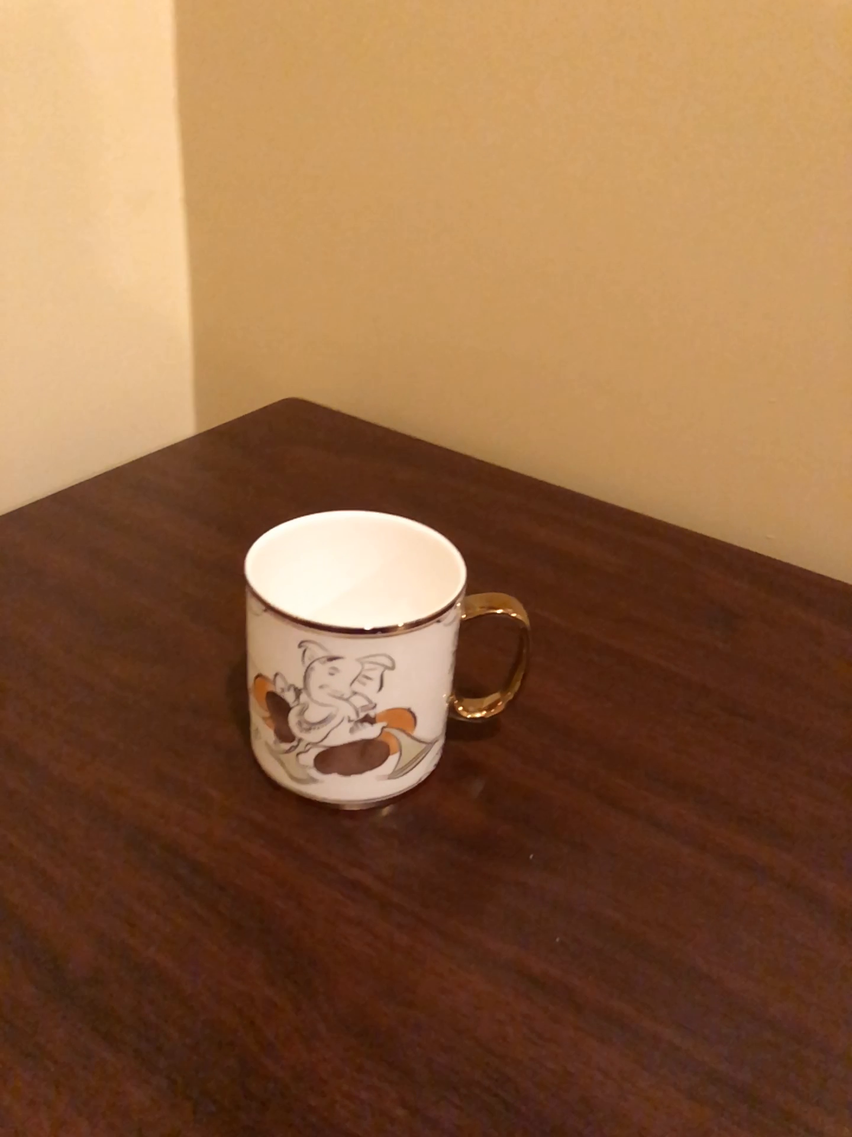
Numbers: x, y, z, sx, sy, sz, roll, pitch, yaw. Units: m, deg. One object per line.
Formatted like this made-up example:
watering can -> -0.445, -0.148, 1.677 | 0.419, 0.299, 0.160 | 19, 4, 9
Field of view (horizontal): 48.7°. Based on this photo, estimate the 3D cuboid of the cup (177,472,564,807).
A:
cup -> -0.026, 0.029, 0.408 | 0.140, 0.100, 0.100 | 3, 31, -5
